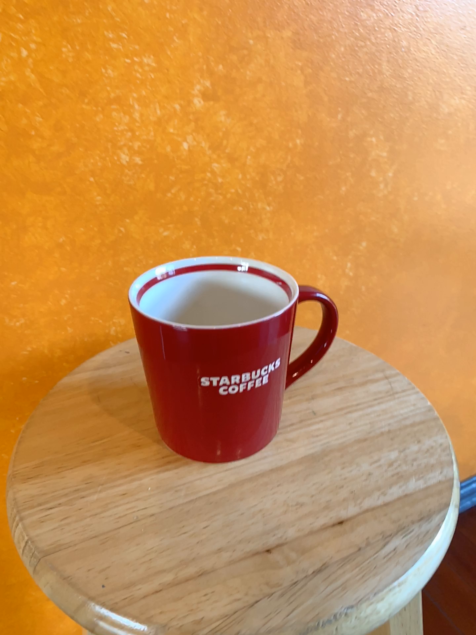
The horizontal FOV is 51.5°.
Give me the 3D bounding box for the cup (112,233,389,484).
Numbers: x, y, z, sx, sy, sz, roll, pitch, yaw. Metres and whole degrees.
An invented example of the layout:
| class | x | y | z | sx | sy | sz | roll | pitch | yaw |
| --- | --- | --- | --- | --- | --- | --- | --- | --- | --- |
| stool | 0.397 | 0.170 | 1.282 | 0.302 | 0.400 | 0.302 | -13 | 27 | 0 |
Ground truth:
| class | x | y | z | sx | sy | sz | roll | pitch | yaw |
| --- | --- | --- | --- | --- | --- | --- | --- | --- | --- |
| cup | 0.003 | 0.017 | 0.325 | 0.140 | 0.099 | 0.101 | -12 | 30 | -21 |
